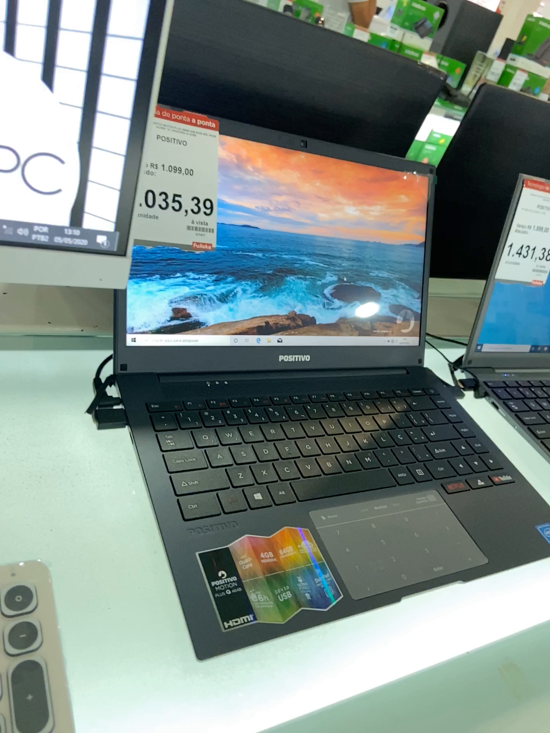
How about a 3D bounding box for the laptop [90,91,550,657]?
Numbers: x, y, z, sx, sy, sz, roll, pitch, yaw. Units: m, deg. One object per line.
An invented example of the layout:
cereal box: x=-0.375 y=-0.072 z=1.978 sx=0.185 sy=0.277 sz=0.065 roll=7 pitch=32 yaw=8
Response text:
laptop: x=0.064 y=-0.033 z=0.451 sx=0.335 sy=0.174 sz=0.355 roll=-1 pitch=40 yaw=-30
